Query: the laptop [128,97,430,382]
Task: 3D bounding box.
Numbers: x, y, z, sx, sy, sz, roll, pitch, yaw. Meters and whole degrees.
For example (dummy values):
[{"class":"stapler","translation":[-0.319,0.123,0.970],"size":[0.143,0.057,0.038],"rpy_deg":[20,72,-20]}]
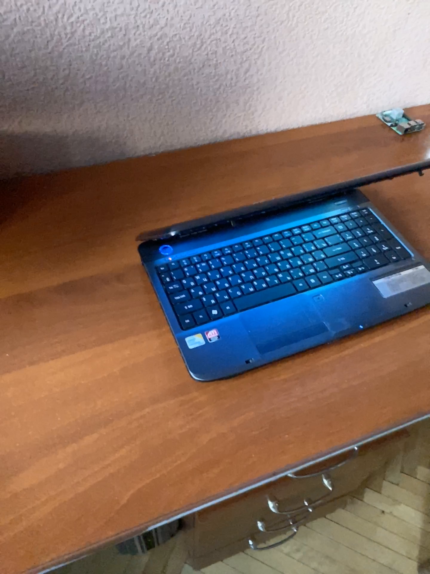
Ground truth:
[{"class":"laptop","translation":[0.112,-0.081,0.576],"size":[0.380,0.163,0.241],"rpy_deg":[-17,53,-15]}]
